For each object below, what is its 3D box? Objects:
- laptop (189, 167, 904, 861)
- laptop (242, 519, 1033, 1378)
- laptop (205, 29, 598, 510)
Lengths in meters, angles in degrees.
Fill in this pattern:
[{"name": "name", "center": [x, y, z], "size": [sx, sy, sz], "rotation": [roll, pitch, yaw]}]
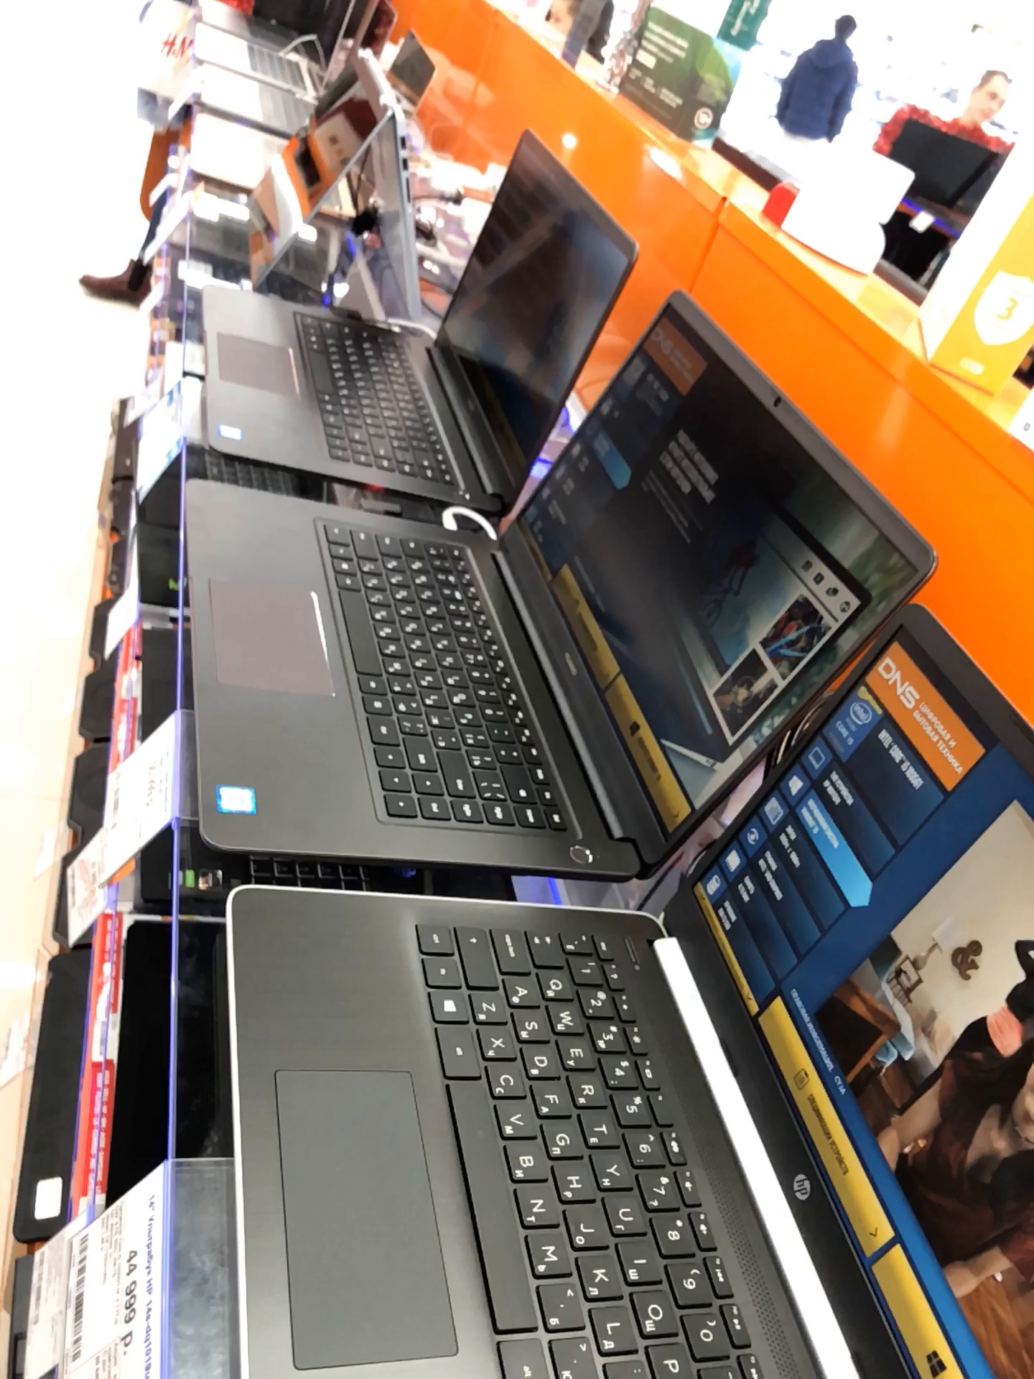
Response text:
[{"name": "laptop", "center": [-0.022, -0.106, 0.665], "size": [0.287, 0.212, 0.340], "rotation": [7, 36, -23]}, {"name": "laptop", "center": [0.049, 0.107, 0.389], "size": [0.243, 0.195, 0.270], "rotation": [10, 31, -19]}, {"name": "laptop", "center": [-0.118, -0.357, 0.965], "size": [0.241, 0.230, 0.357], "rotation": [8, 35, -24]}]
